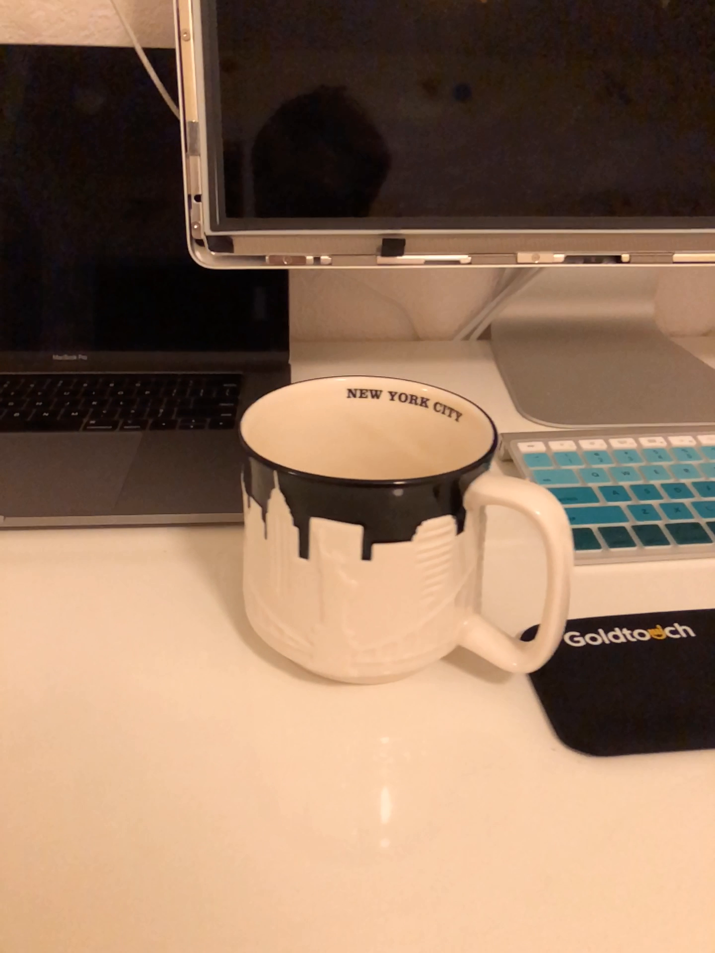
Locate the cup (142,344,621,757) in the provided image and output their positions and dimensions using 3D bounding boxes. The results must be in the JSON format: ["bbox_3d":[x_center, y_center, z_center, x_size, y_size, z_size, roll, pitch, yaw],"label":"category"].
[{"bbox_3d":[0.014,0.017,0.319,0.150,0.090,0.111,13,30,20],"label":"cup"}]
